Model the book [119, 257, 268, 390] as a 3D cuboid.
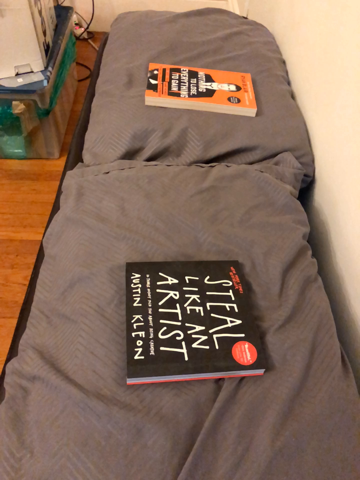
[{"bbox_3d":[0.008,0.092,0.479,0.160,0.020,0.161,-1,50,-7],"label":"book"}]
